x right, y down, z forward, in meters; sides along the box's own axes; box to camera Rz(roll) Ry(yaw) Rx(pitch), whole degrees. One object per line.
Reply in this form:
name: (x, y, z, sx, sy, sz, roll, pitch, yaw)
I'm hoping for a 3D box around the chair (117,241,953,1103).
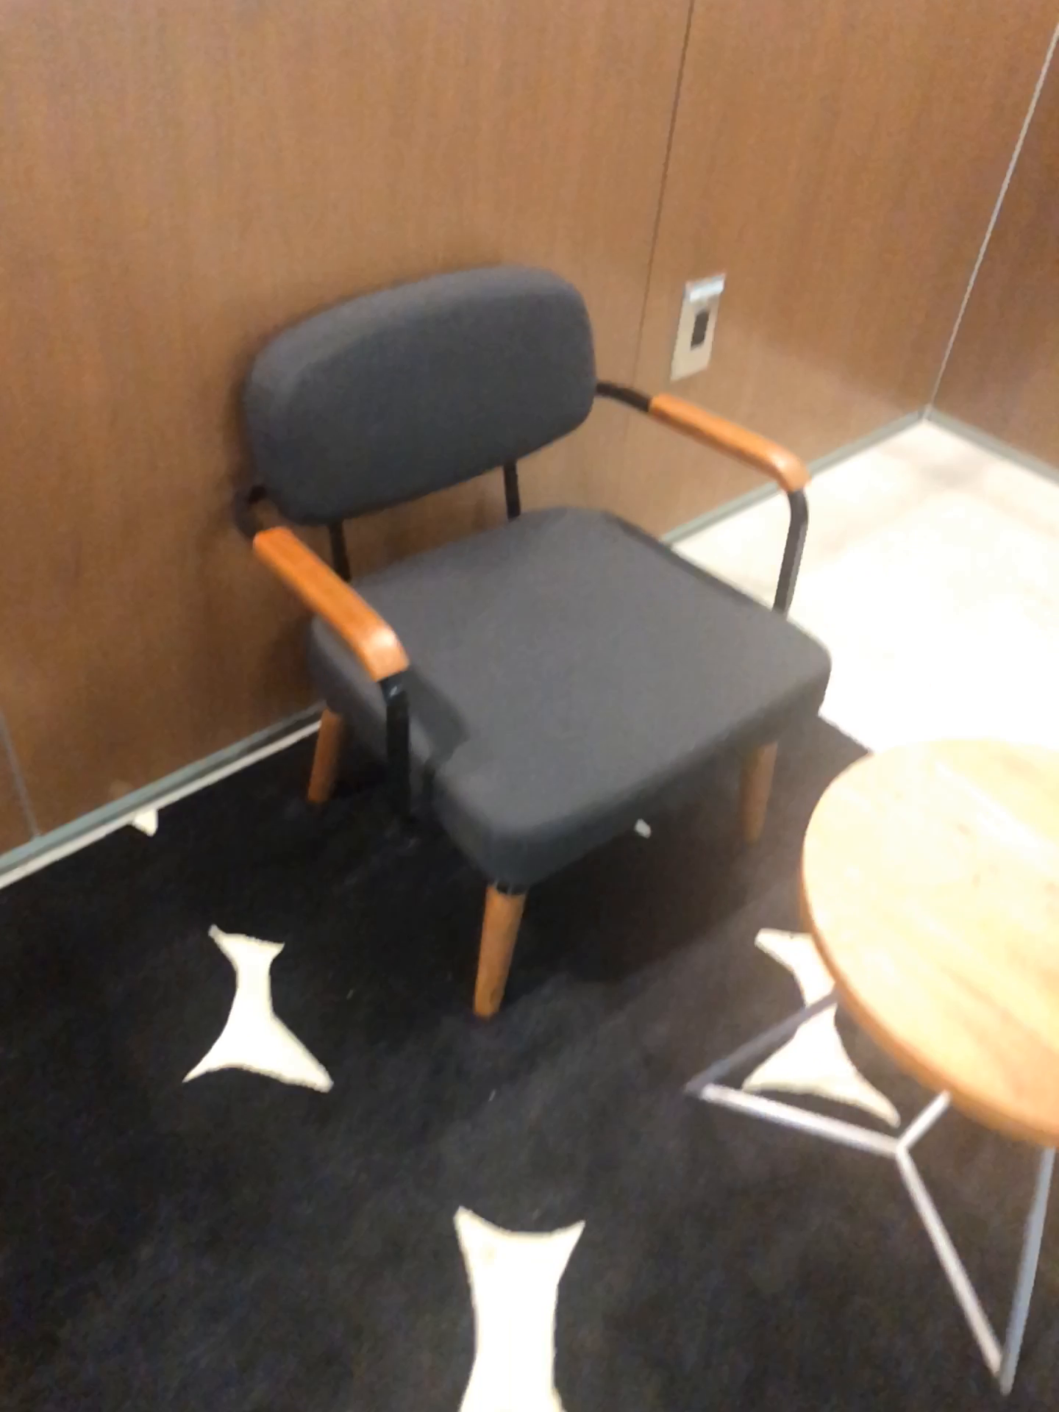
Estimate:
chair: (-0.013, -0.101, 1.558, 0.684, 0.714, 0.682, -27, 48, -32)
